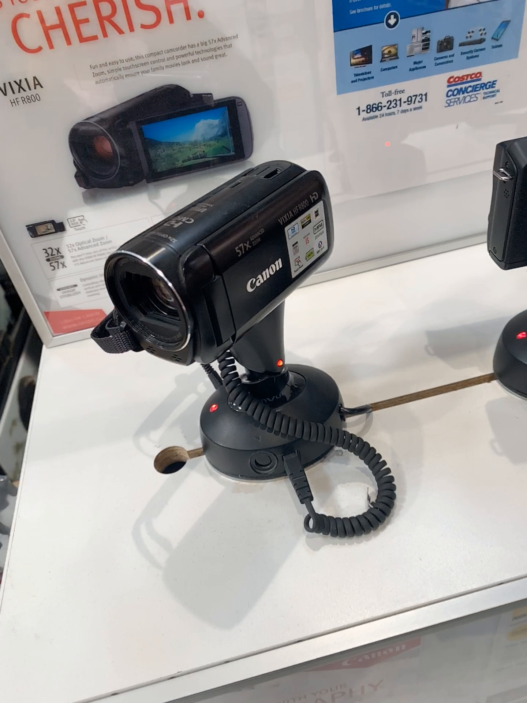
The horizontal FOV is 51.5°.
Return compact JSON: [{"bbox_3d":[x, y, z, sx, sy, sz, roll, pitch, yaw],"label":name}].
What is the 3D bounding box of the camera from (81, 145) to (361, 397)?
[{"bbox_3d":[-0.010,-0.044,0.243,0.058,0.054,0.114,19,45,32],"label":"camera"}]
